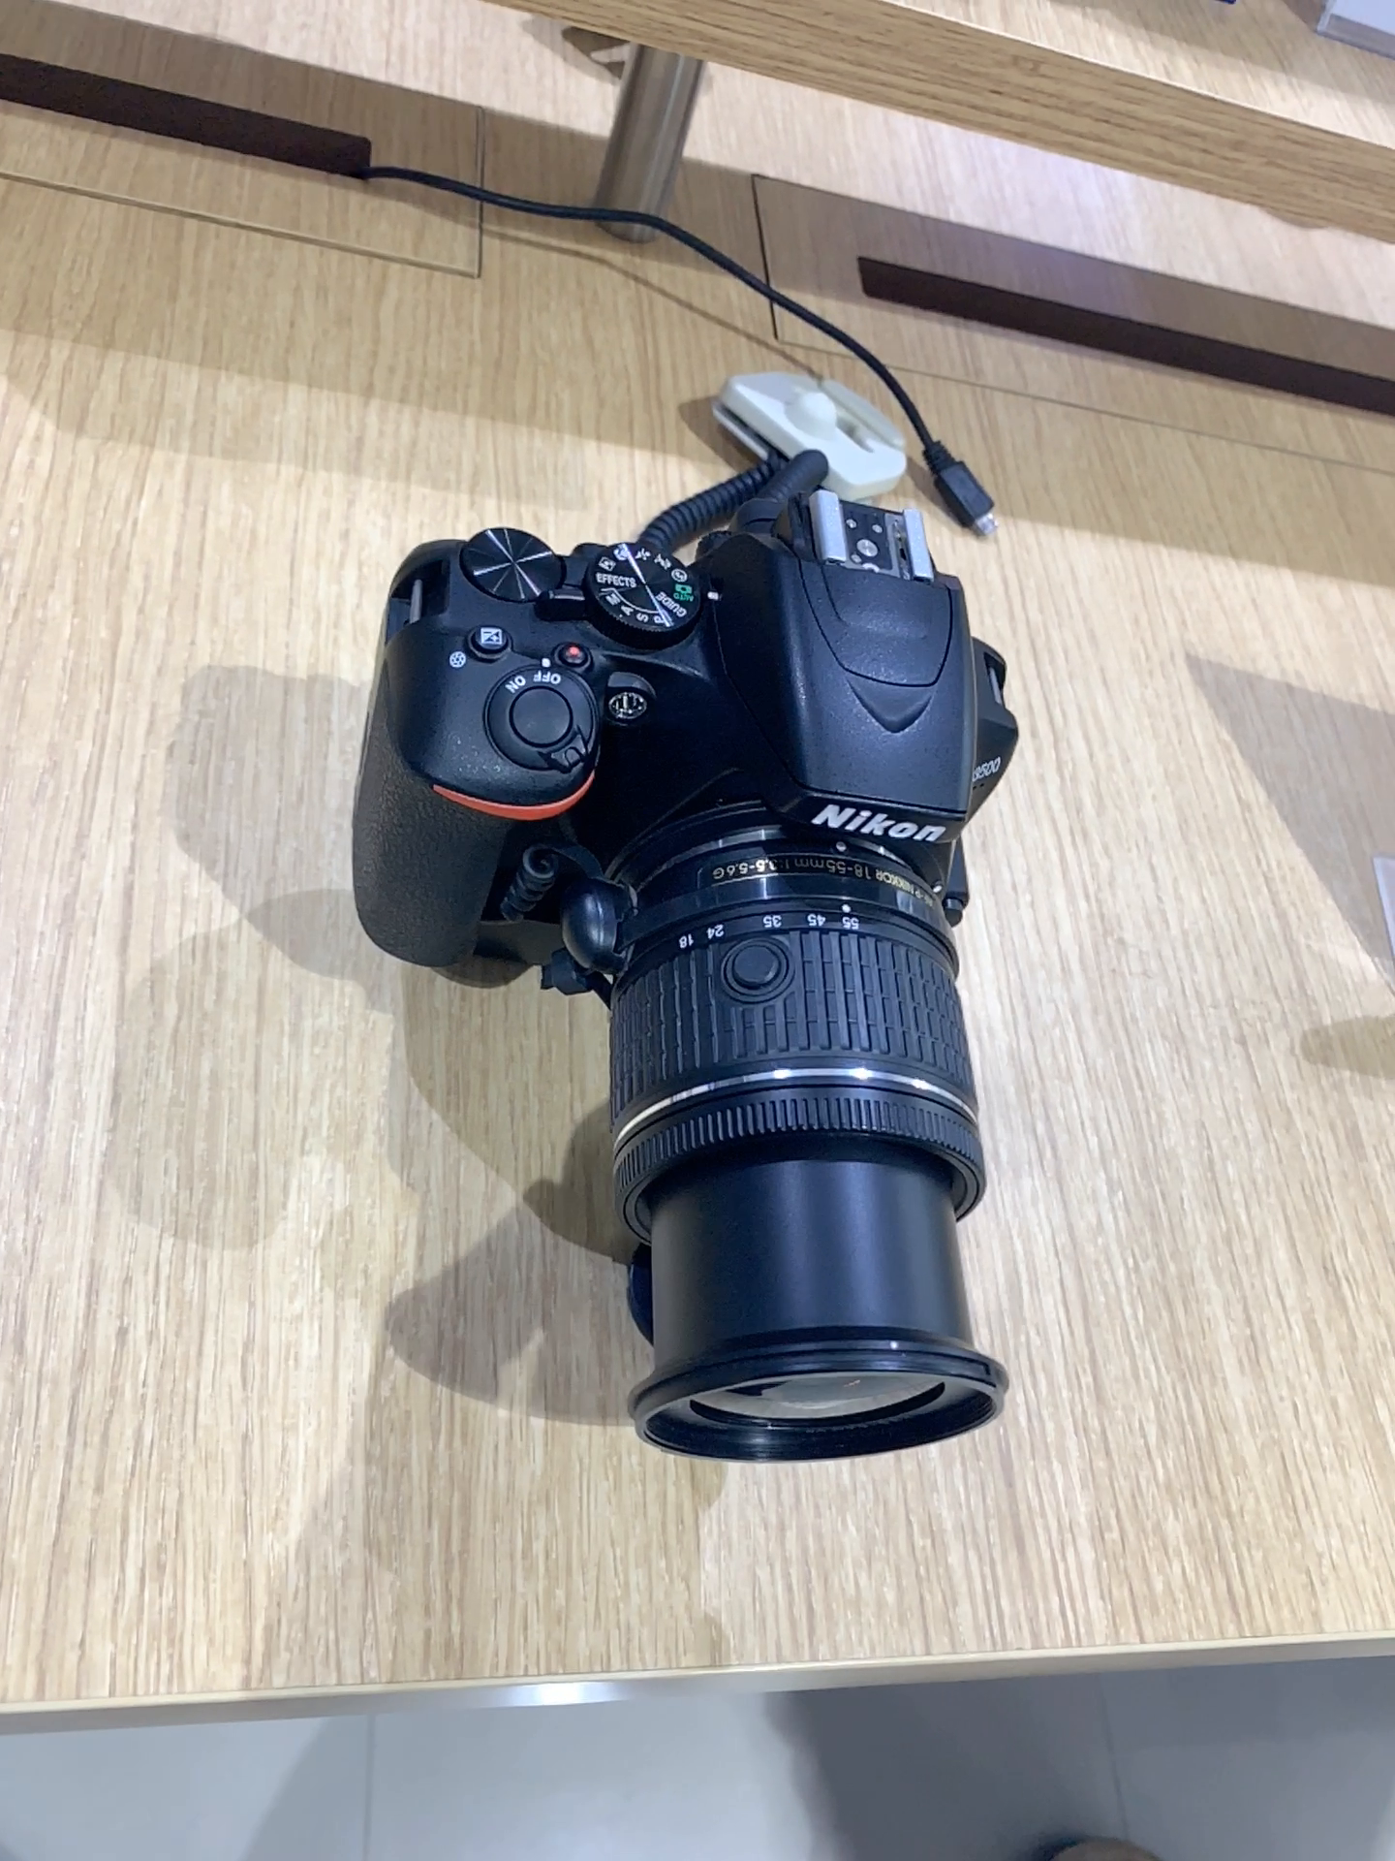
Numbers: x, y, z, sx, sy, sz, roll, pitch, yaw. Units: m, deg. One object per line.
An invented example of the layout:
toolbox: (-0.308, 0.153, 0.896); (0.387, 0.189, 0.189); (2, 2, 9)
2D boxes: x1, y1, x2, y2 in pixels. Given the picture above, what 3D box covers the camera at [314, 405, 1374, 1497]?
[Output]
camera: (0.007, 0.010, 0.228); (0.117, 0.095, 0.131); (5, 58, -16)
